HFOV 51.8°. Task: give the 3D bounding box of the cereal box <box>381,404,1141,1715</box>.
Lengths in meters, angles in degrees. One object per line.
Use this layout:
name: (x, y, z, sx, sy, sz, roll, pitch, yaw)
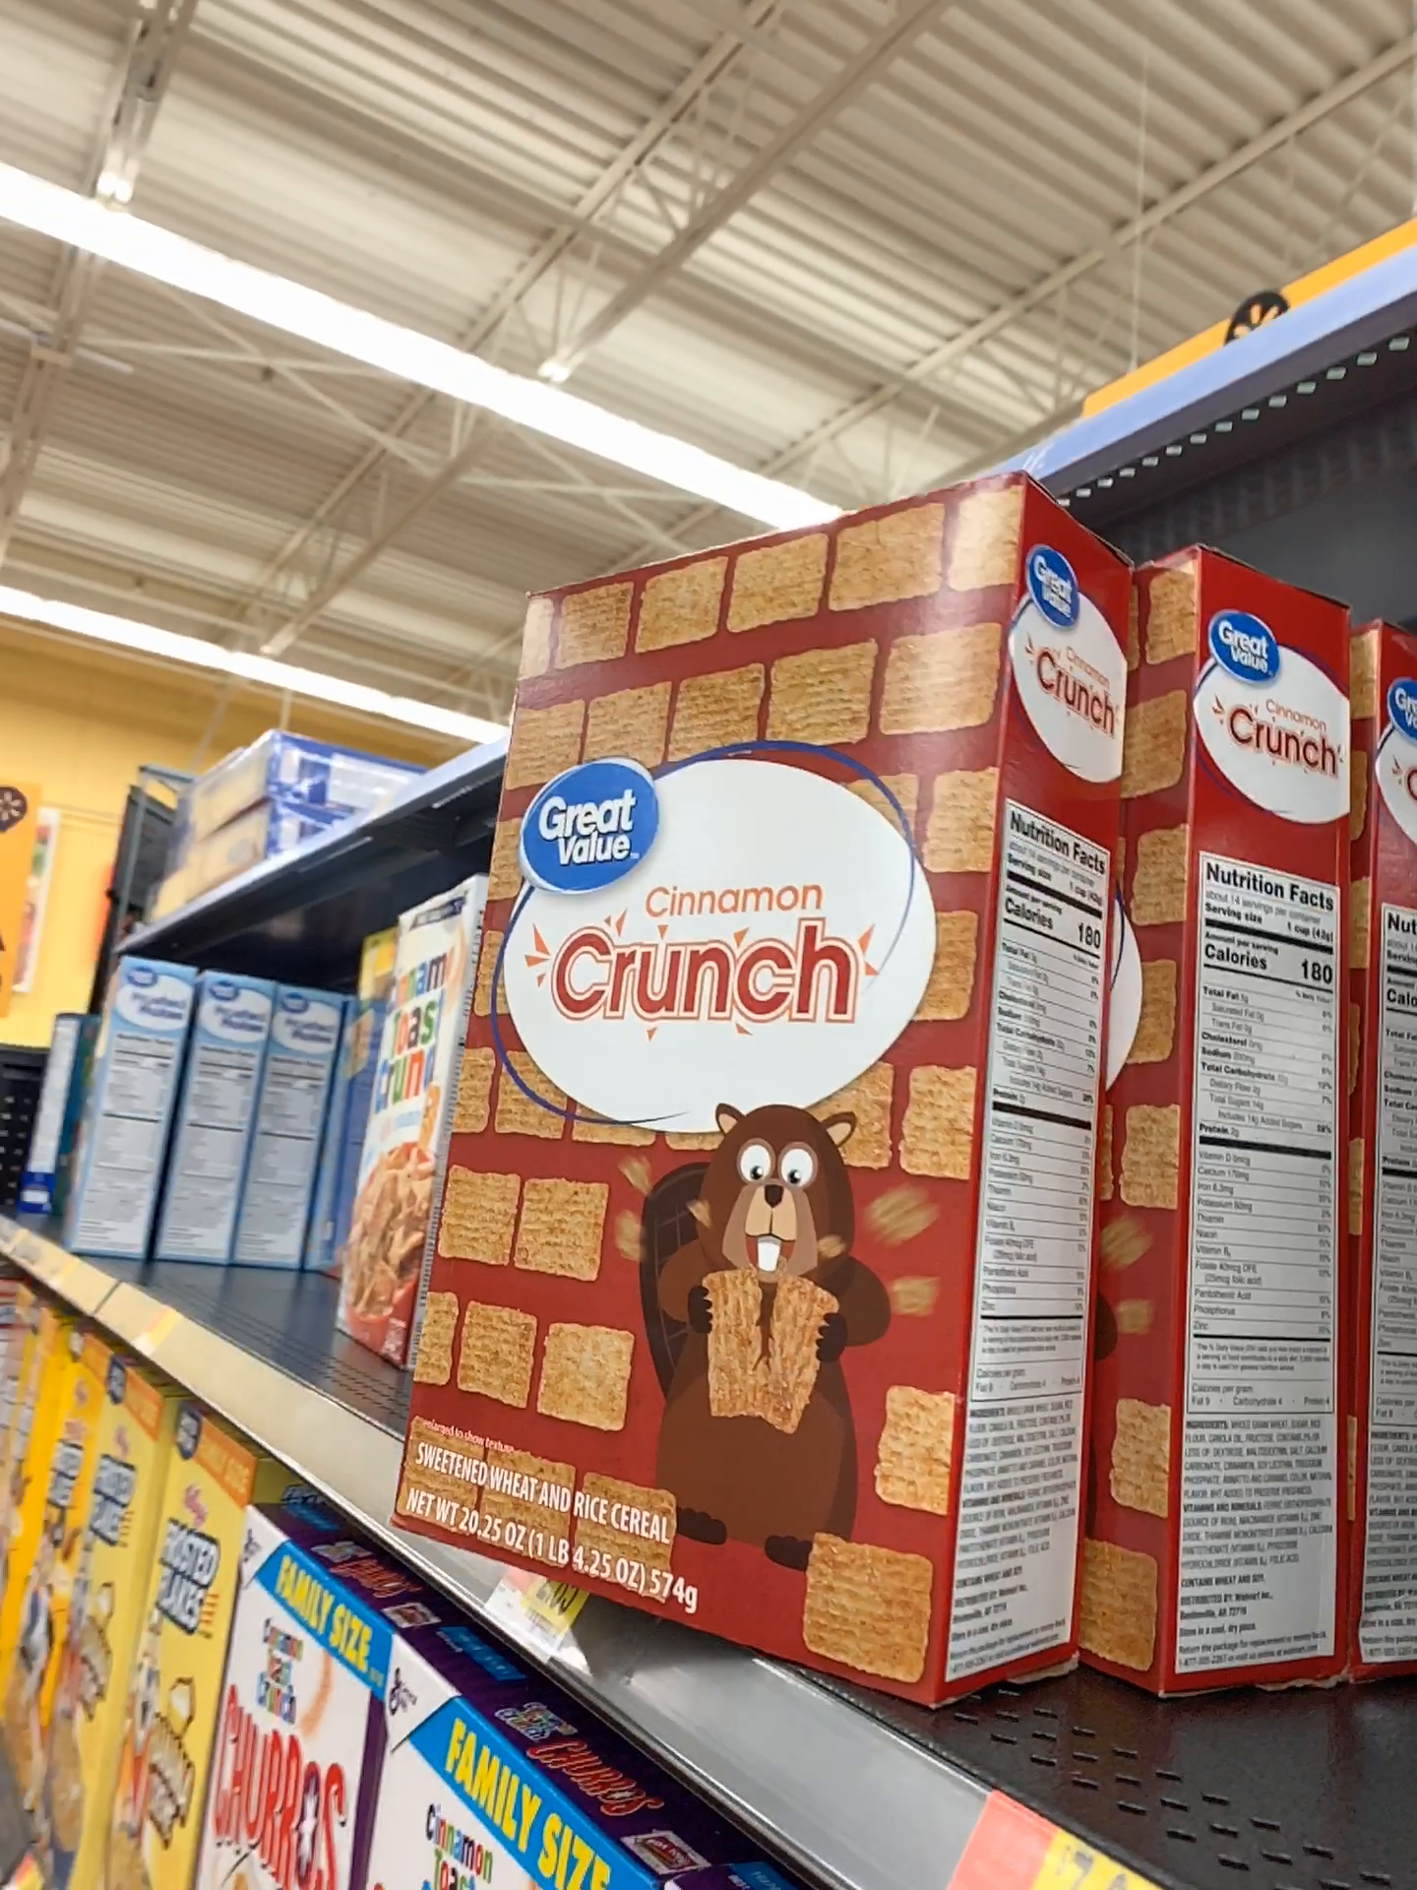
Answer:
cereal box: (0.017, 0.023, 0.448, 0.190, 0.331, 0.070, -1, -13, 36)
